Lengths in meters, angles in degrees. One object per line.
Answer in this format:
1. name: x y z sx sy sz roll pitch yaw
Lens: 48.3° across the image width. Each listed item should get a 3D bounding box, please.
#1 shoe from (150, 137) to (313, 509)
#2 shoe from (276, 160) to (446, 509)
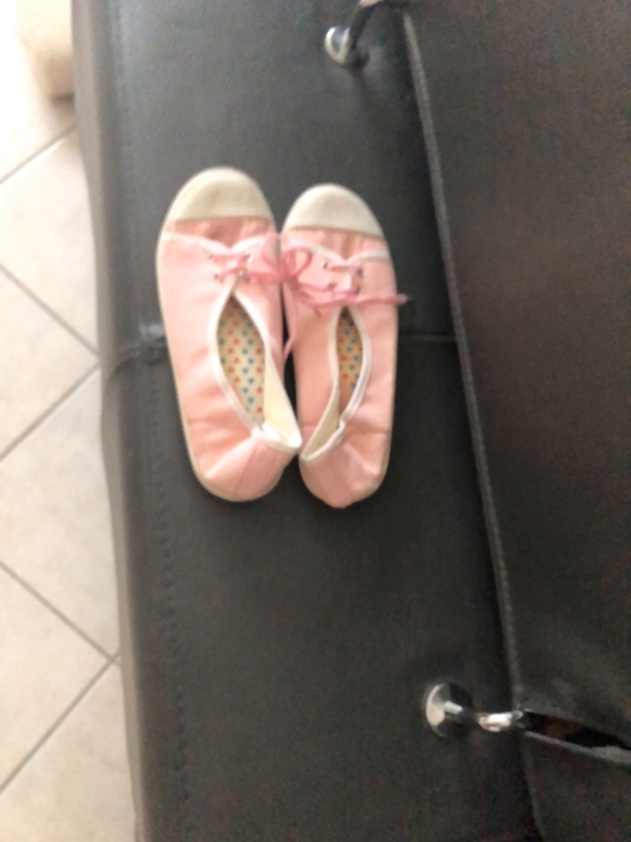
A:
1. shoe: -0.059 -0.066 0.469 0.090 0.040 0.240 -1 77 -16
2. shoe: 0.028 -0.062 0.500 0.090 0.040 0.240 -1 77 -16
